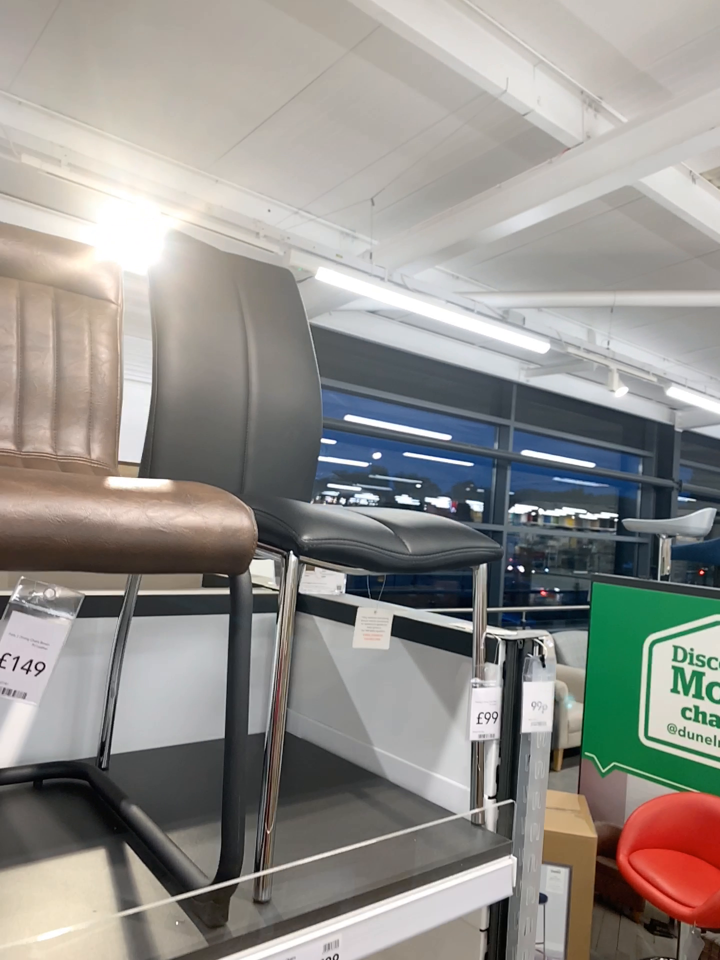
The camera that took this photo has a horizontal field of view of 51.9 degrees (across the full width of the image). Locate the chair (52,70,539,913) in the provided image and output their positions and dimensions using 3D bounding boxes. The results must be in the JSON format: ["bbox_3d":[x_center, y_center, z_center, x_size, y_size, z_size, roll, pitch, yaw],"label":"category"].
[{"bbox_3d":[-0.117,0.010,1.244,0.474,0.995,0.583,9,-6,-41],"label":"chair"}]

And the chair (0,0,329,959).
[{"bbox_3d":[-0.470,0.001,0.888,0.554,0.885,0.583,8,-5,-38],"label":"chair"}]
